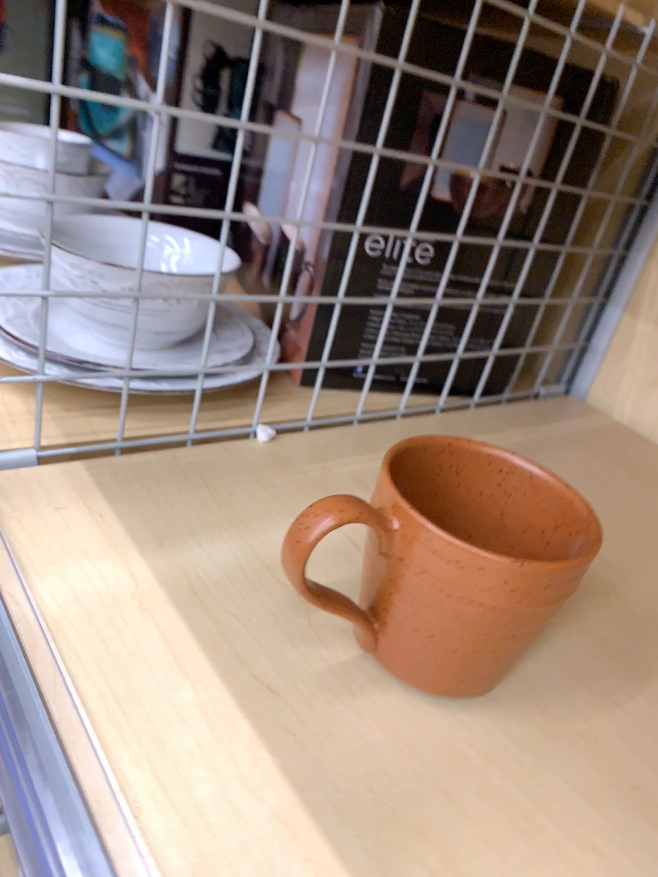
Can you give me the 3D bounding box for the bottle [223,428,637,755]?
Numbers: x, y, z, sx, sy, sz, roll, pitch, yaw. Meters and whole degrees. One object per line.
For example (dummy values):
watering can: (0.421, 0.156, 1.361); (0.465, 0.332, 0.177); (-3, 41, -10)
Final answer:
bottle: (0.039, 0.060, 0.318); (0.140, 0.090, 0.100); (1, 30, -27)
